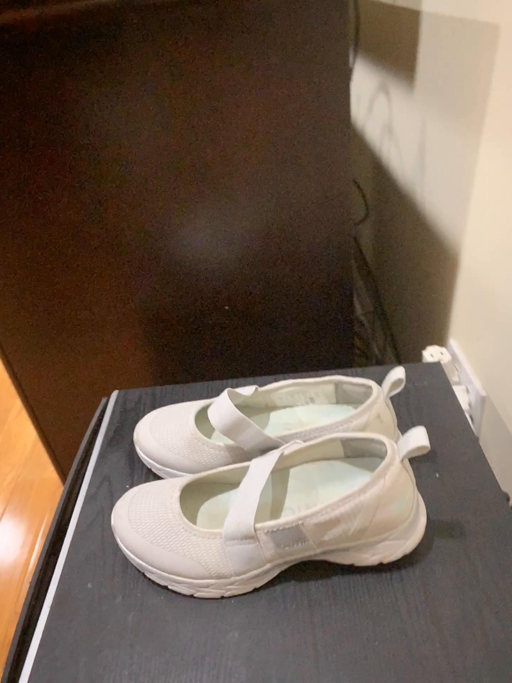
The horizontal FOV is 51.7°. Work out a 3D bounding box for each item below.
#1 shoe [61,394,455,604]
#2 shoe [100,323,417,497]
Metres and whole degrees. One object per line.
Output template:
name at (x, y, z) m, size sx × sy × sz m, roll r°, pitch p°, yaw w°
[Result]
shoe at (0.004, 0.119, 0.399) m, size 0.249 × 0.093 × 0.103 m, roll -5°, pitch 35°, yaw 5°
shoe at (0.006, 0.061, 0.479) m, size 0.249 × 0.093 × 0.103 m, roll -5°, pitch 35°, yaw 5°
